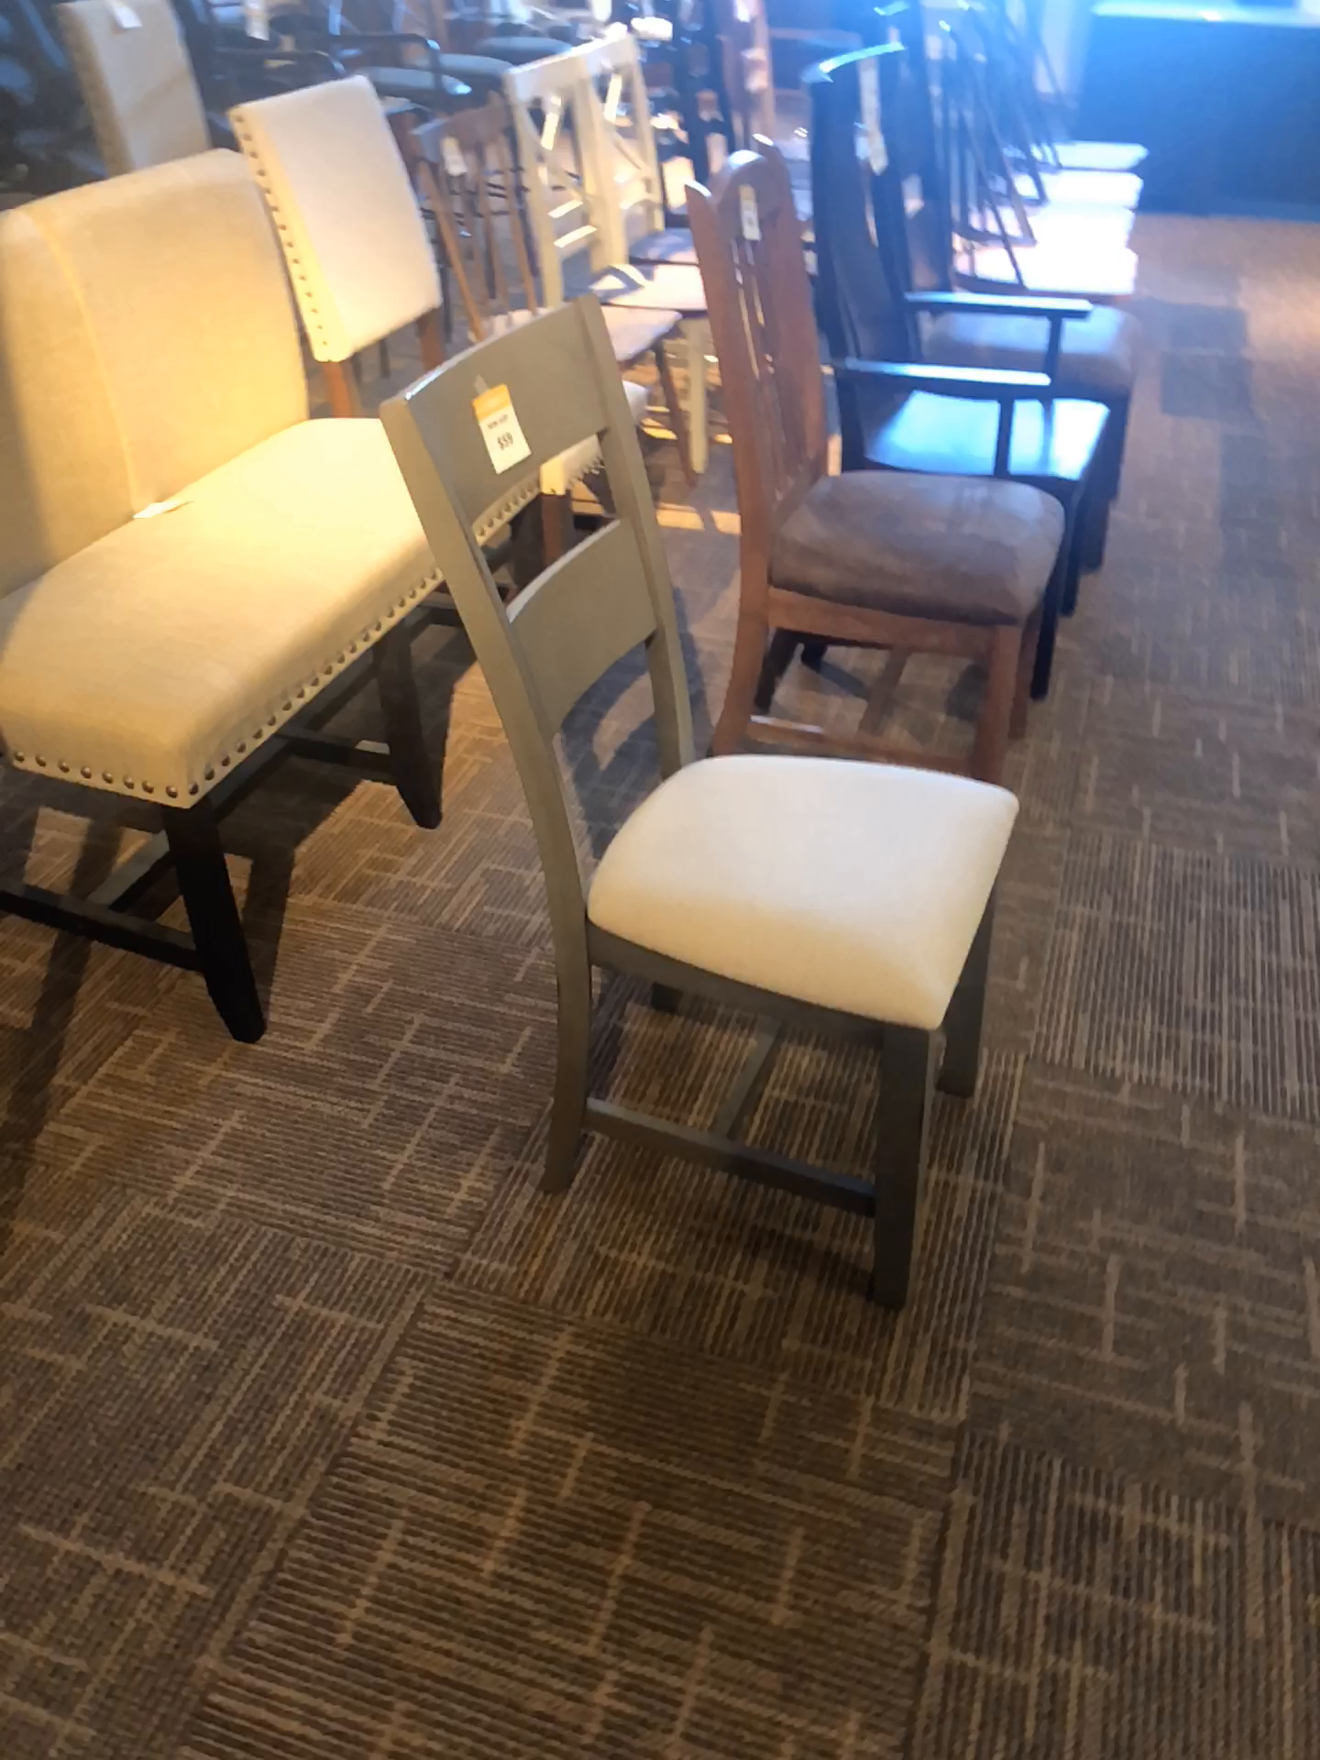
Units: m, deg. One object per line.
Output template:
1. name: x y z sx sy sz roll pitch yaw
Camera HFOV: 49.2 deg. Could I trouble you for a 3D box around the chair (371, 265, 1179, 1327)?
1. chair: 0.120 -0.090 1.604 0.630 0.965 0.462 14 37 17
